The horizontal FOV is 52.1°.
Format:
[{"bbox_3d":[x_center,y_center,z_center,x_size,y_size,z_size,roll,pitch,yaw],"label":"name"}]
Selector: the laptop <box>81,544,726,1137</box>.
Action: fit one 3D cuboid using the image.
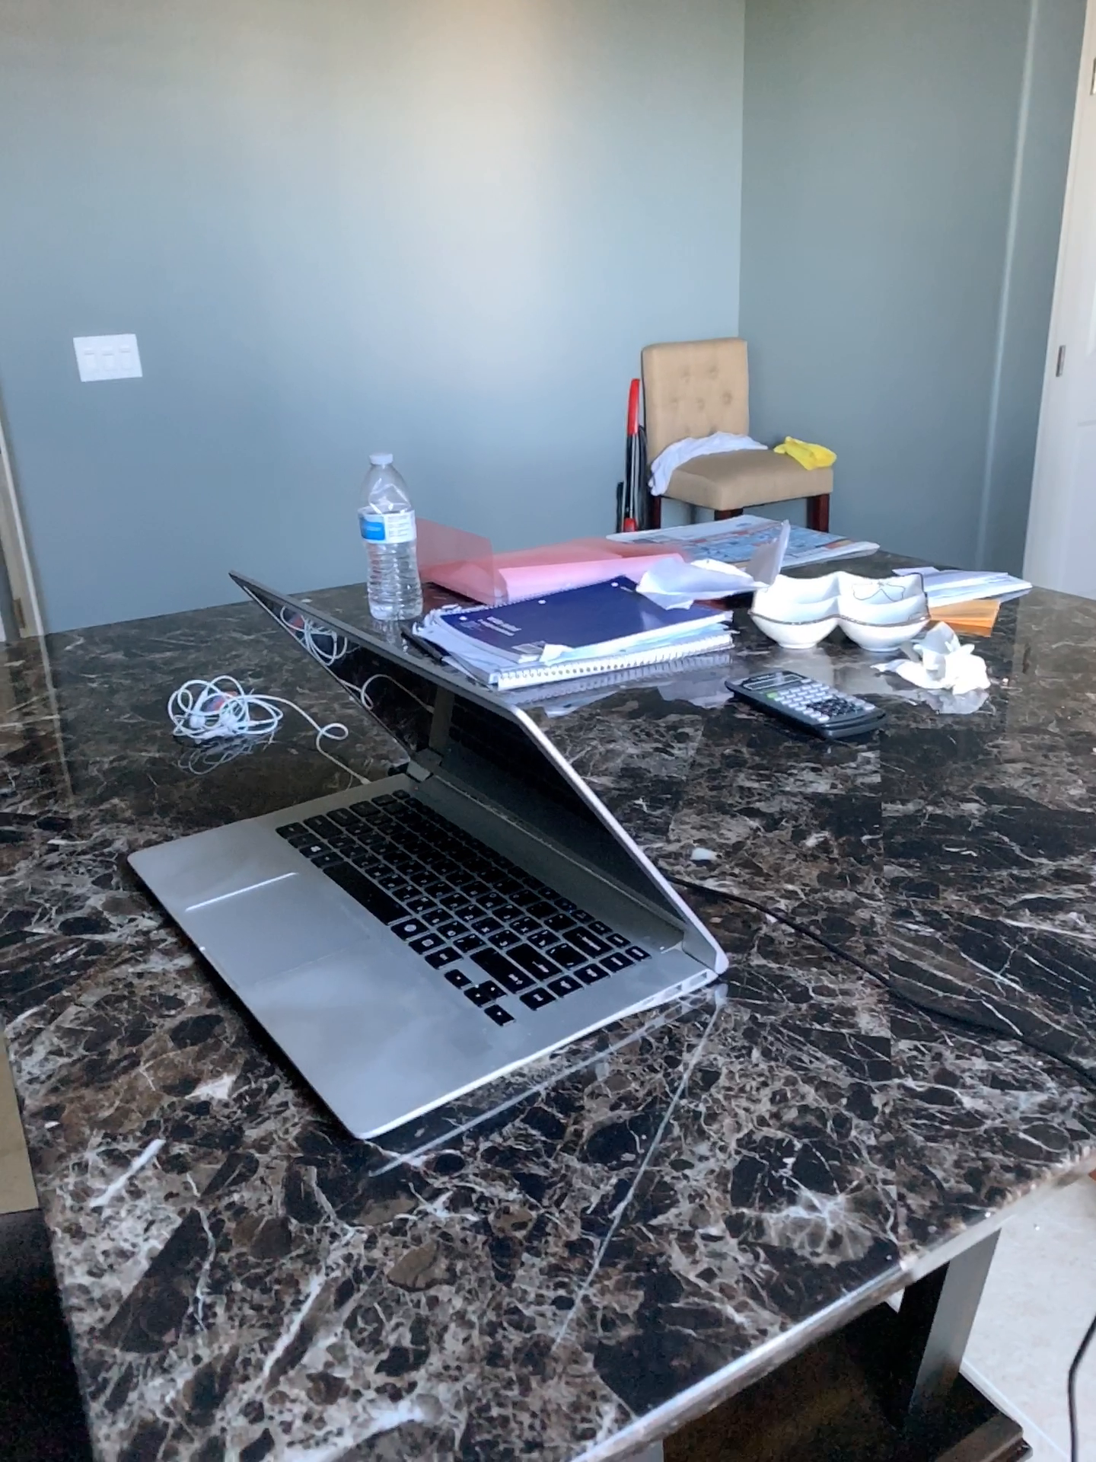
[{"bbox_3d":[-0.104,0.023,0.692,0.234,0.188,0.362,-16,25,-32],"label":"laptop"}]
